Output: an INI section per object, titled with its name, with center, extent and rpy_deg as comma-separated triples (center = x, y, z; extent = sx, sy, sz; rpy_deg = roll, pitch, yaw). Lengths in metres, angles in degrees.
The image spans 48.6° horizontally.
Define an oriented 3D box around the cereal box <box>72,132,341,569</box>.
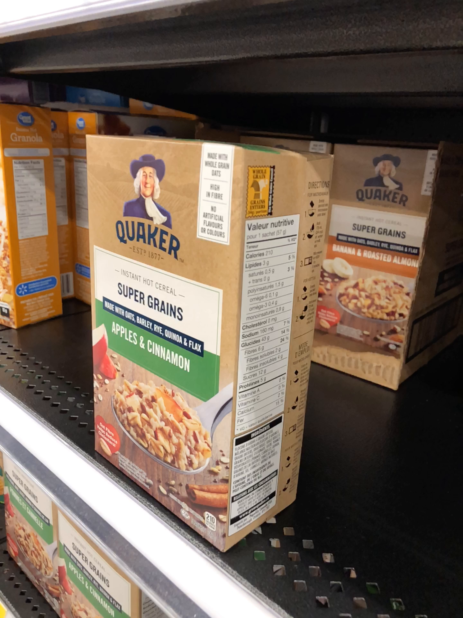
[cereal box]
center = -0.023, 0.011, 0.285
extent = 0.130, 0.199, 0.060
rpy_deg = 20, 25, 40
